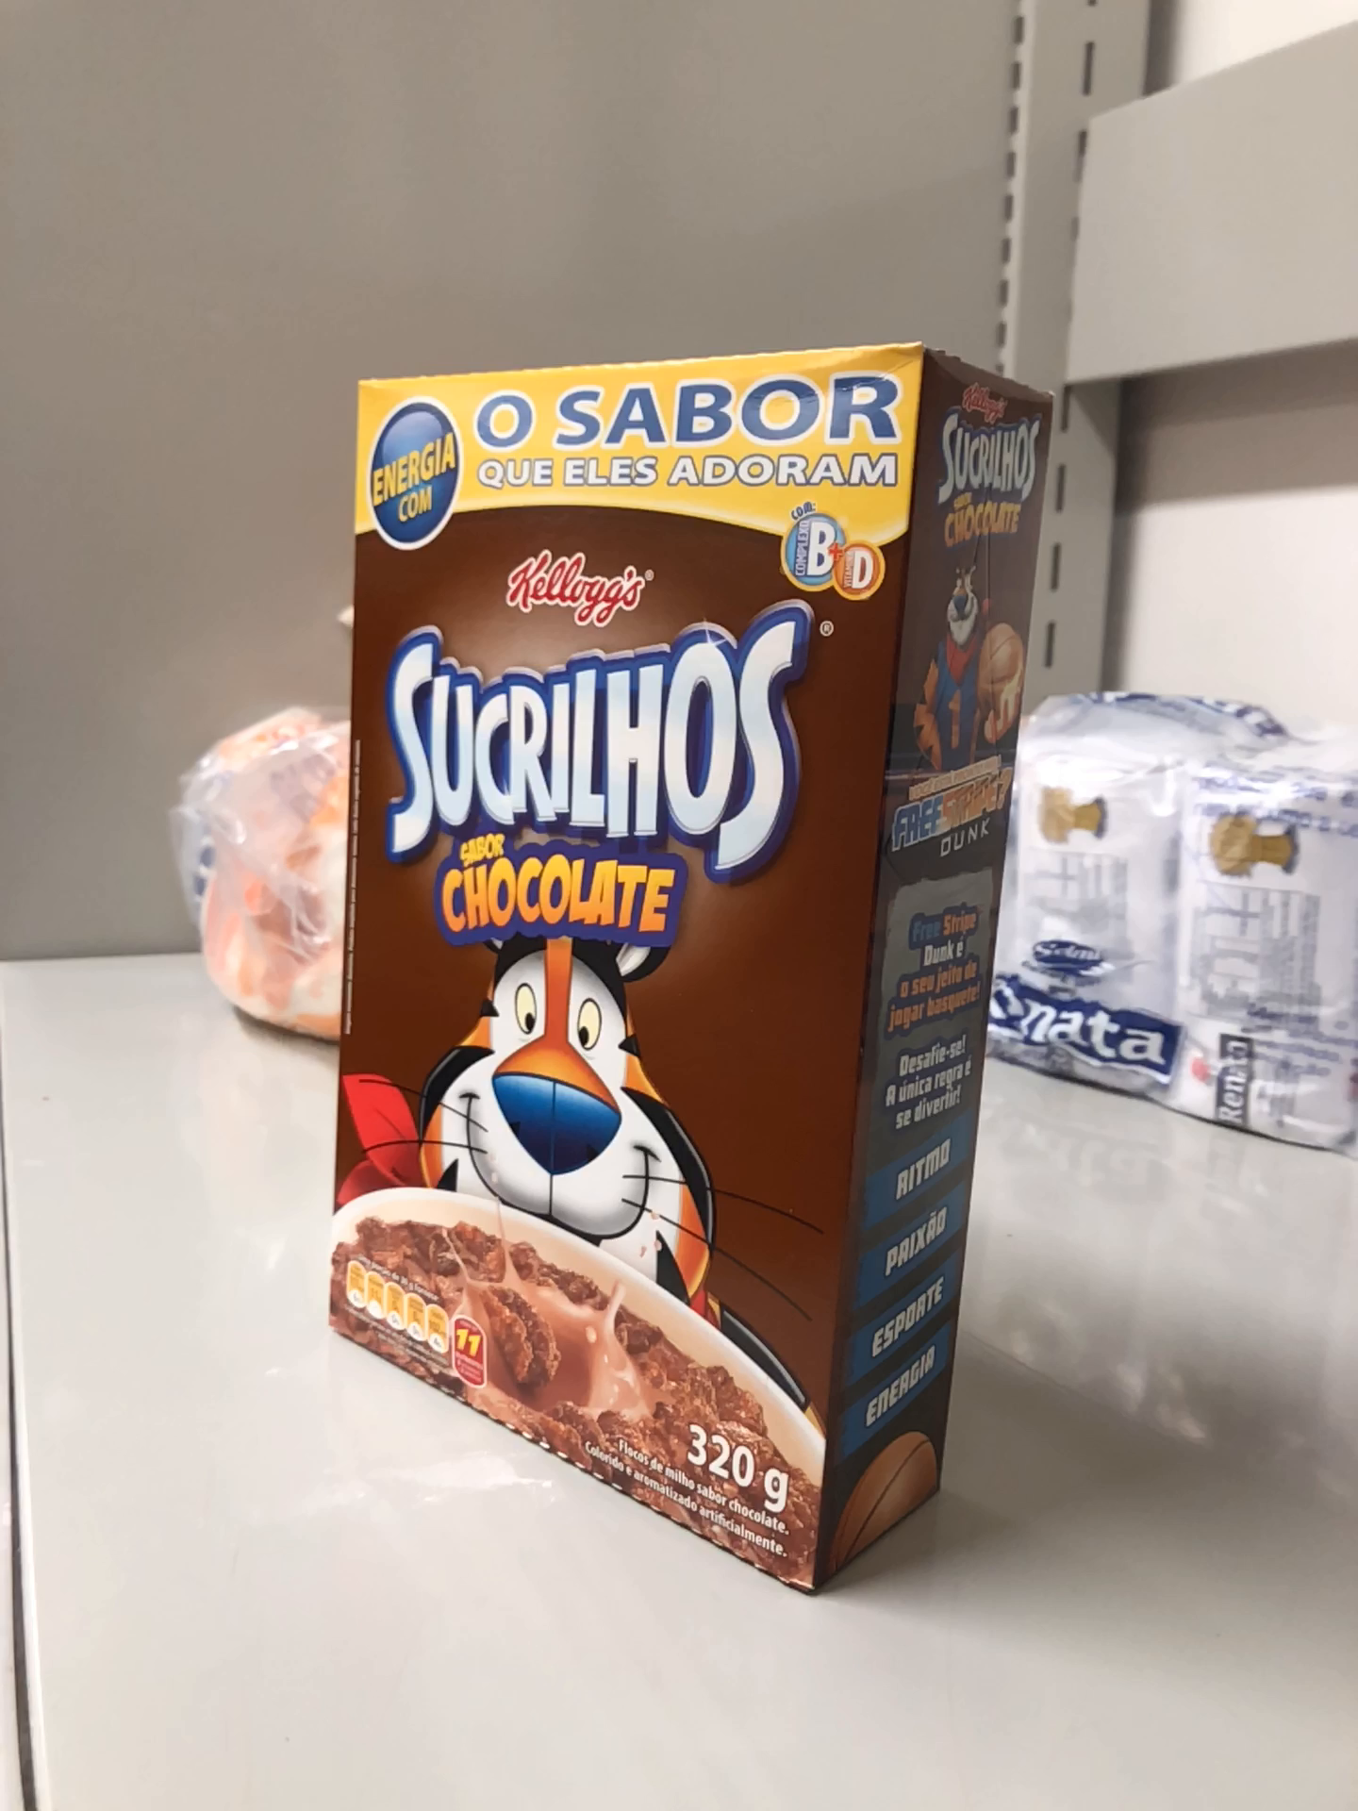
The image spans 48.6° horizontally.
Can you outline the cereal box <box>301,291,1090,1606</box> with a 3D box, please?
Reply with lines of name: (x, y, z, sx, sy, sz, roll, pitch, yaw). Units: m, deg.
cereal box: (-0.009, 0.000, 0.384, 0.180, 0.269, 0.070, 12, 13, 38)
